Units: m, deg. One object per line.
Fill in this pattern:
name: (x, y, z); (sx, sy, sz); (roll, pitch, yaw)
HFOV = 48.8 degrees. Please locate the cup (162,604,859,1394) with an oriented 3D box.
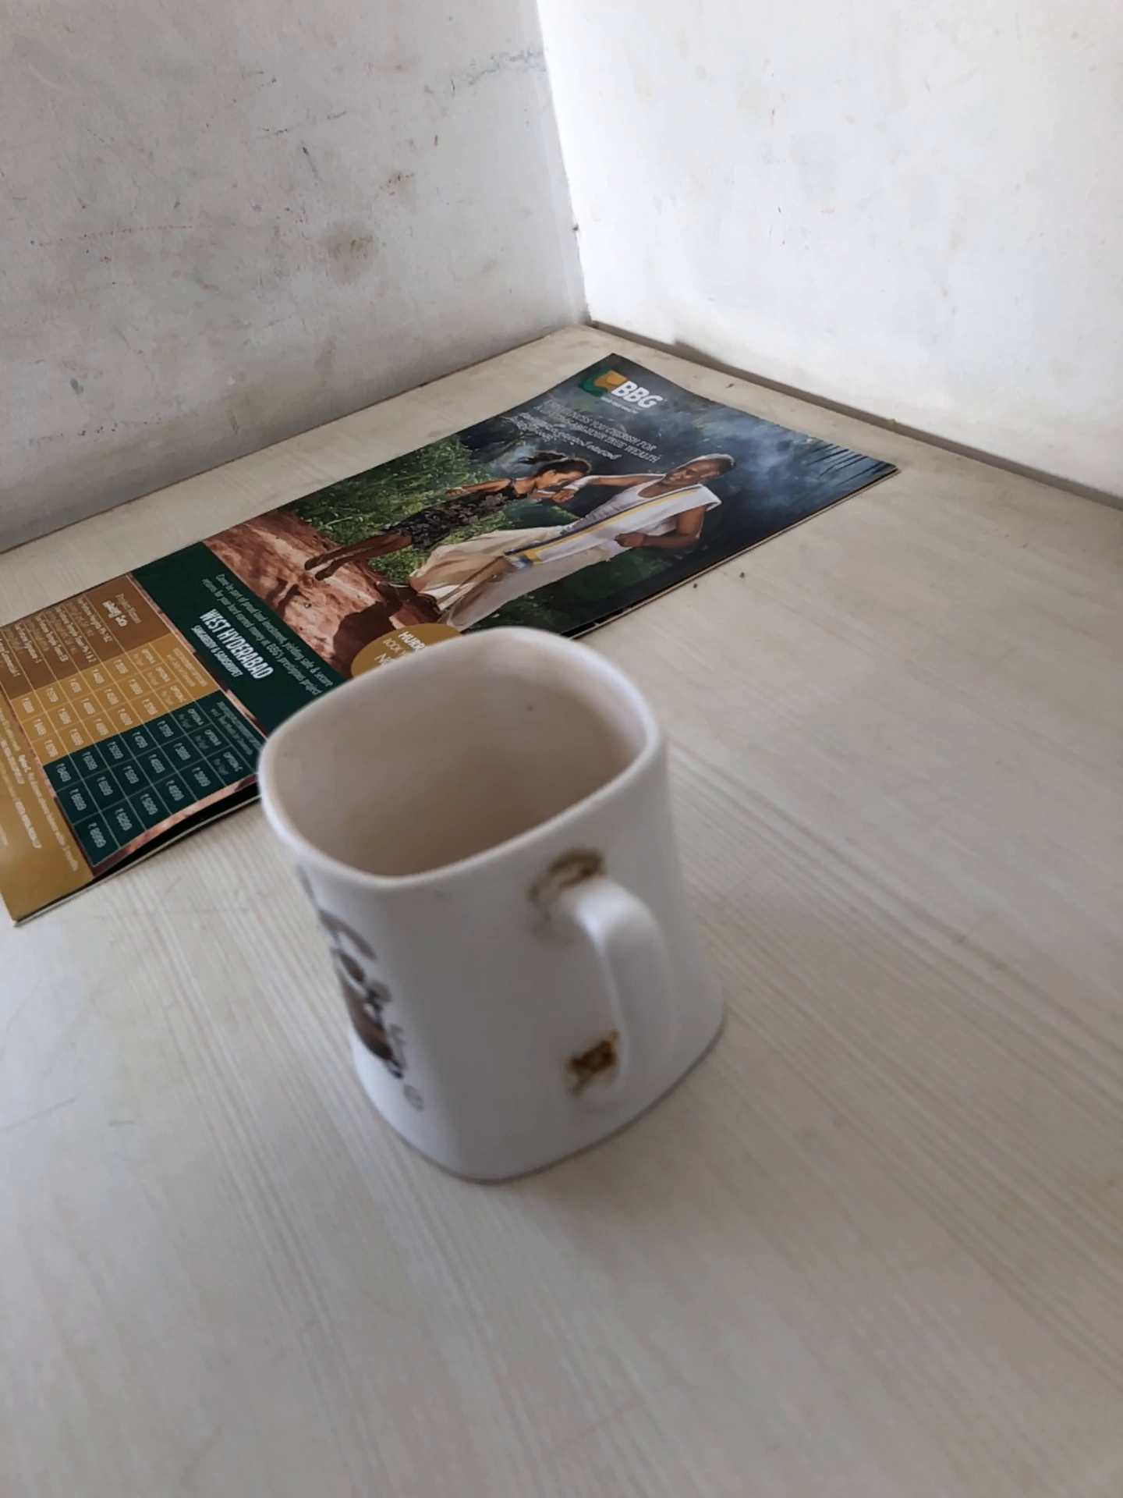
cup: (-0.009, 0.034, 0.211); (0.070, 0.070, 0.090); (-28, 38, -21)
